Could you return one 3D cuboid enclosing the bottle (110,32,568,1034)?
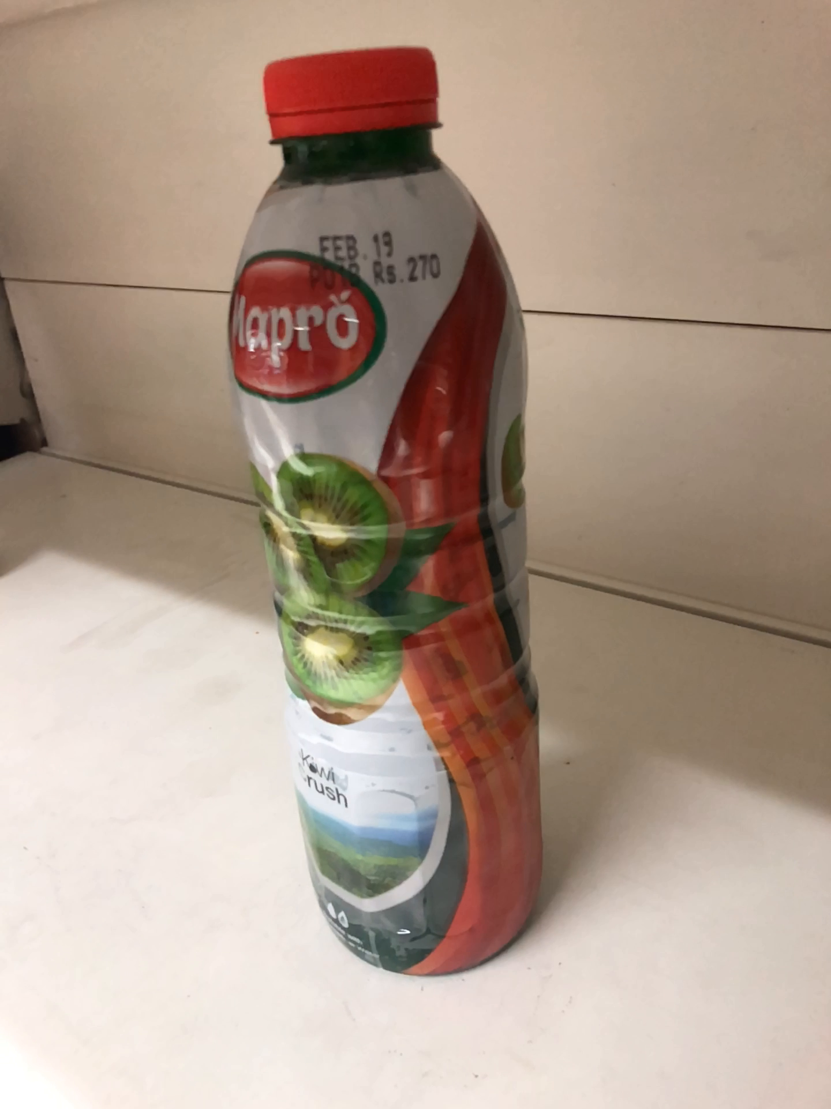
[{"bbox_3d":[-0.008,0.003,0.266,0.080,0.258,0.070,13,30,34],"label":"bottle"}]
